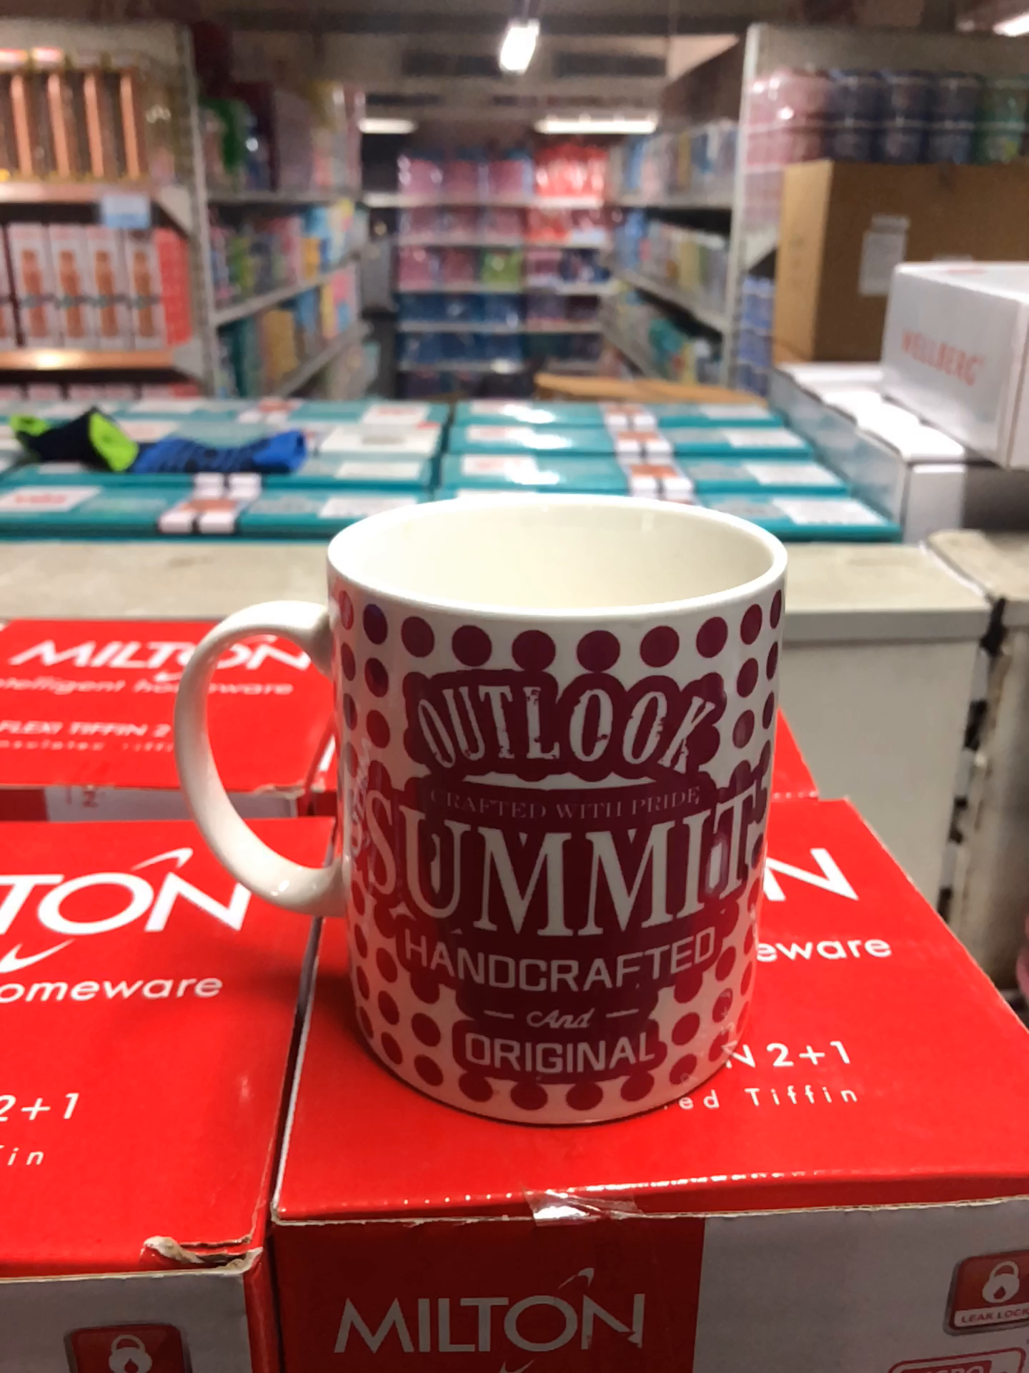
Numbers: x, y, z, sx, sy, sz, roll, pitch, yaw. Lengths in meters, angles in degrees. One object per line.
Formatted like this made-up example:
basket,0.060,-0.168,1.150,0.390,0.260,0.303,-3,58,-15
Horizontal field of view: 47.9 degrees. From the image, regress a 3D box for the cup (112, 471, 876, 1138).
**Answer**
cup,-0.004,0.018,0.222,0.110,0.099,0.080,1,23,0
